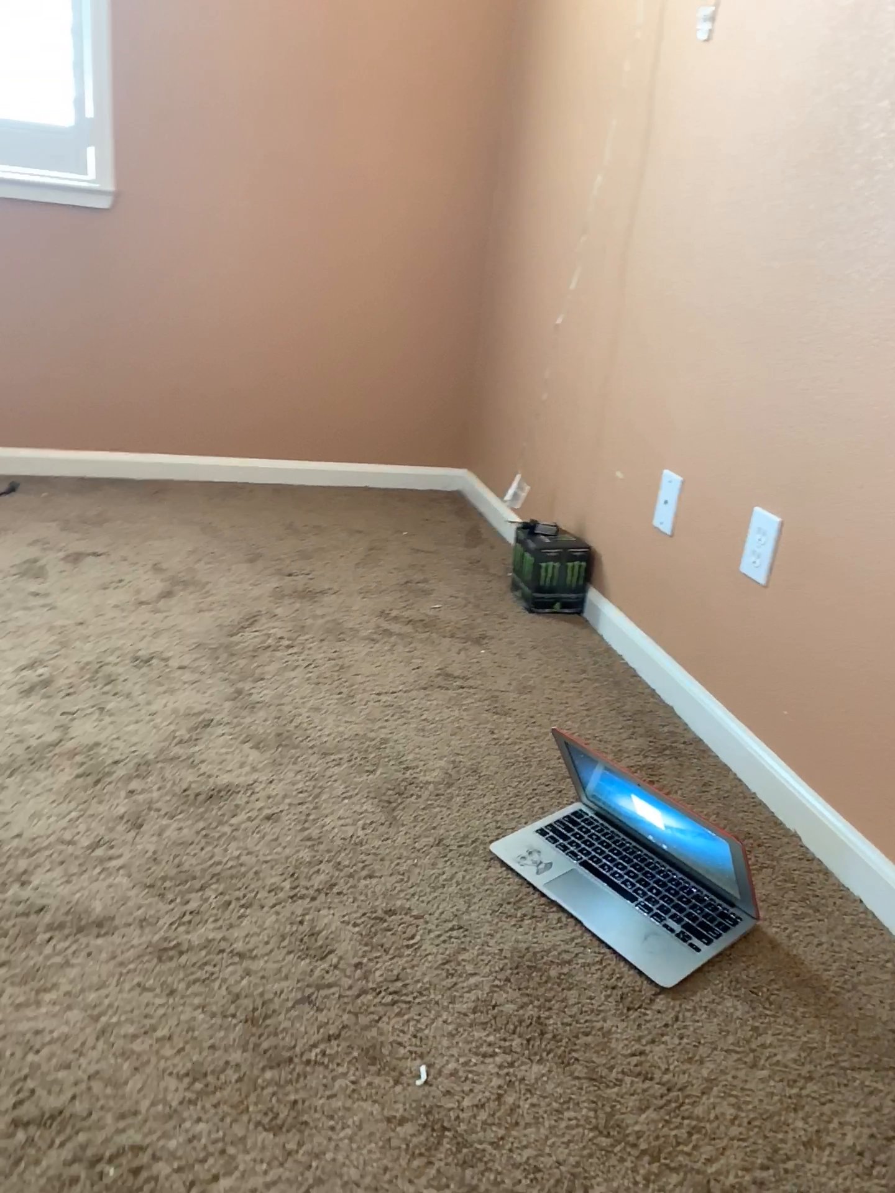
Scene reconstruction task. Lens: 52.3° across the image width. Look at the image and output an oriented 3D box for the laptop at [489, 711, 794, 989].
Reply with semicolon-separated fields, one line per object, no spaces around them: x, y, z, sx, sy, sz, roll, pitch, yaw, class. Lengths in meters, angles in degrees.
0.232;0.297;1.143;0.193;0.148;0.299;-12;28;-40;laptop
